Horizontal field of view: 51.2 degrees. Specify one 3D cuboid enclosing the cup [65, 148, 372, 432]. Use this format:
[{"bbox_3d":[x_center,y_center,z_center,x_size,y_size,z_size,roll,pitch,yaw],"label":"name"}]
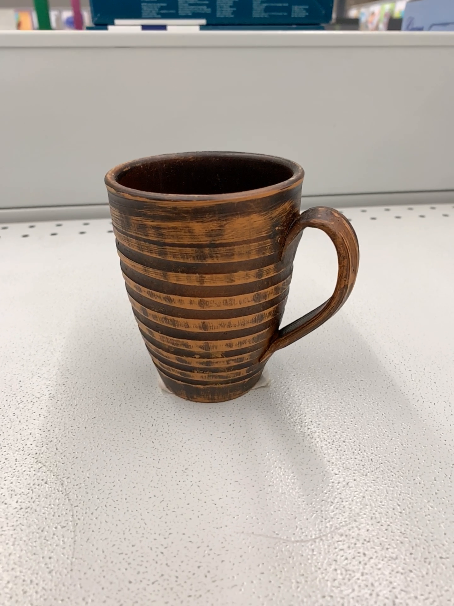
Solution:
[{"bbox_3d":[0.003,-0.015,0.218,0.106,0.089,0.084,9,30,17],"label":"cup"}]
